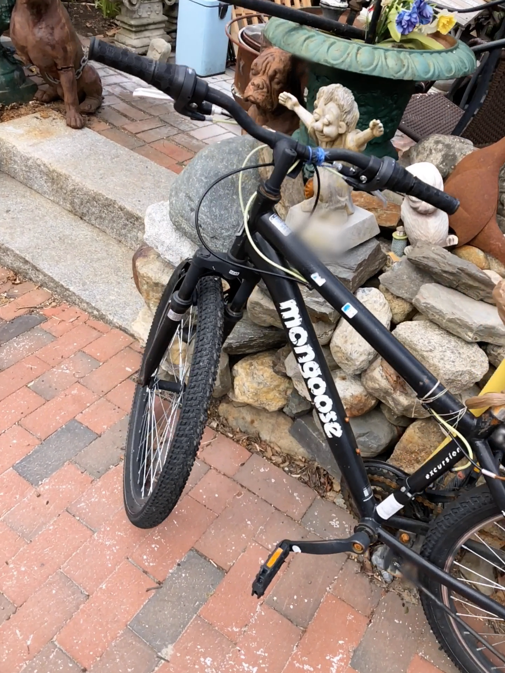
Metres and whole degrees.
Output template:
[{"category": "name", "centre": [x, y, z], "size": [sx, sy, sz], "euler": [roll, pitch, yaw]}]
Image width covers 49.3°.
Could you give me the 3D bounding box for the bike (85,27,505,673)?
[{"category": "bike", "centre": [0.355, 0.109, 1.047], "size": [1.411, 0.872, 0.635], "euler": [34, 46, 26]}]
